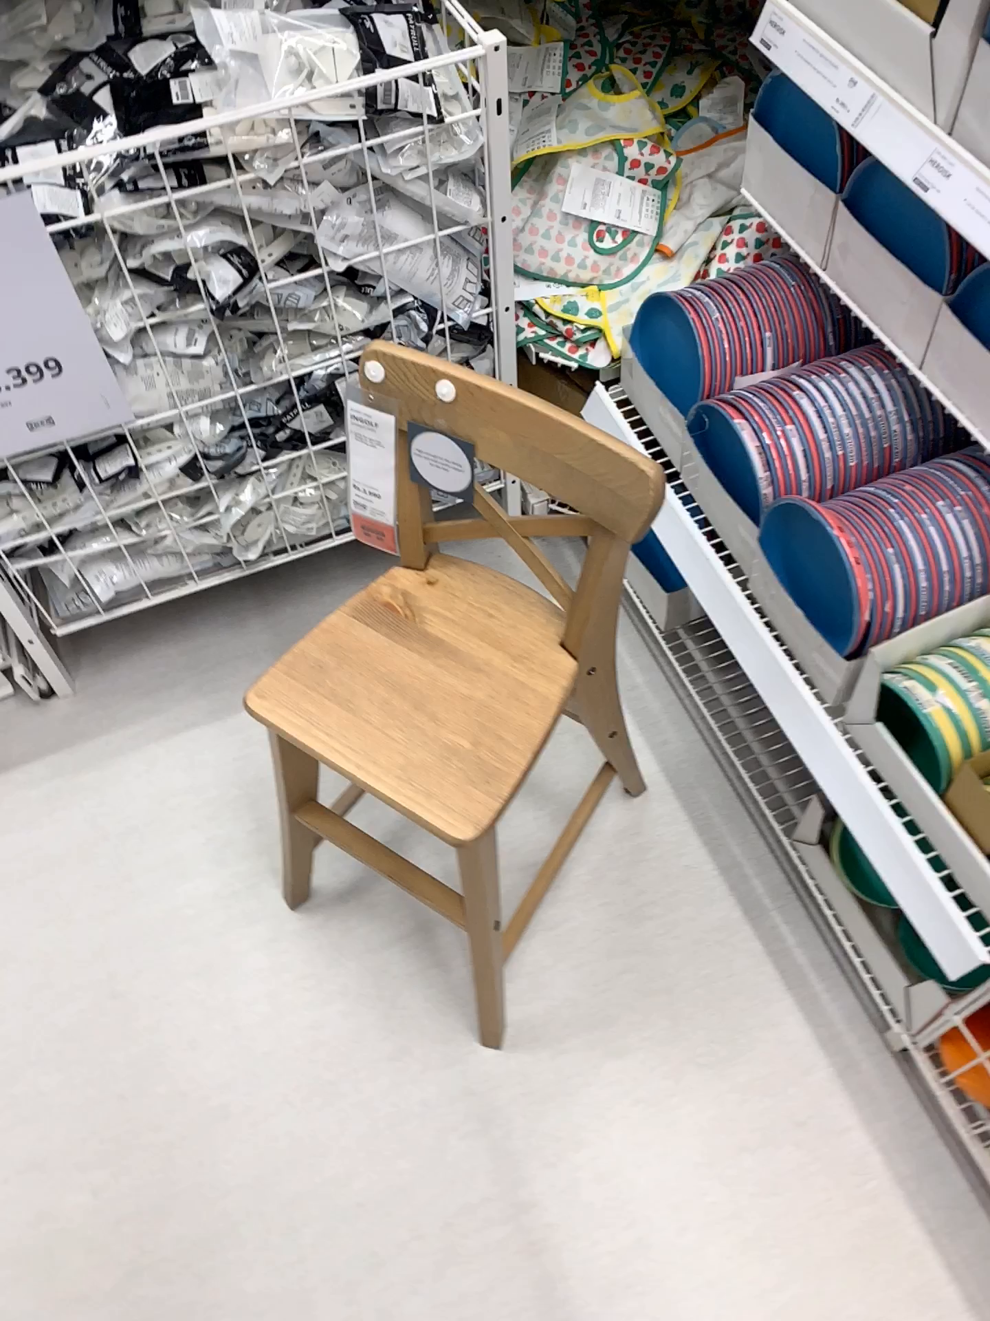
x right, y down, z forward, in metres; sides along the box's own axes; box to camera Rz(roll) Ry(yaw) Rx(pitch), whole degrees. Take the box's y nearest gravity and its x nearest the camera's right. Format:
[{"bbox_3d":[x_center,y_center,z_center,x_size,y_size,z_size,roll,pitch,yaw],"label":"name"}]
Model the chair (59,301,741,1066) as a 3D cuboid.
[{"bbox_3d":[-0.052,0.073,1.135,0.380,0.688,0.461,27,62,19],"label":"chair"}]
